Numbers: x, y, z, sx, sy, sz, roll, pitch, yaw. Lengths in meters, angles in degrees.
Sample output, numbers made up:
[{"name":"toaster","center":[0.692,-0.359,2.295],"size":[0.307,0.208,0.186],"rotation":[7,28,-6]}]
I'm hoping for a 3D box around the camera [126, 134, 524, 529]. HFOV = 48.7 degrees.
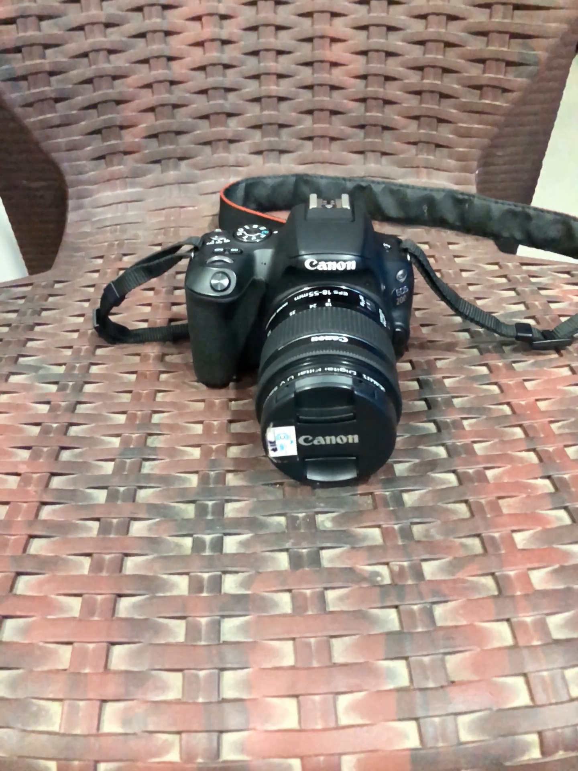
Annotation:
[{"name":"camera","center":[0.014,-0.033,0.322],"size":[0.140,0.109,0.171],"rotation":[1,48,1]}]
